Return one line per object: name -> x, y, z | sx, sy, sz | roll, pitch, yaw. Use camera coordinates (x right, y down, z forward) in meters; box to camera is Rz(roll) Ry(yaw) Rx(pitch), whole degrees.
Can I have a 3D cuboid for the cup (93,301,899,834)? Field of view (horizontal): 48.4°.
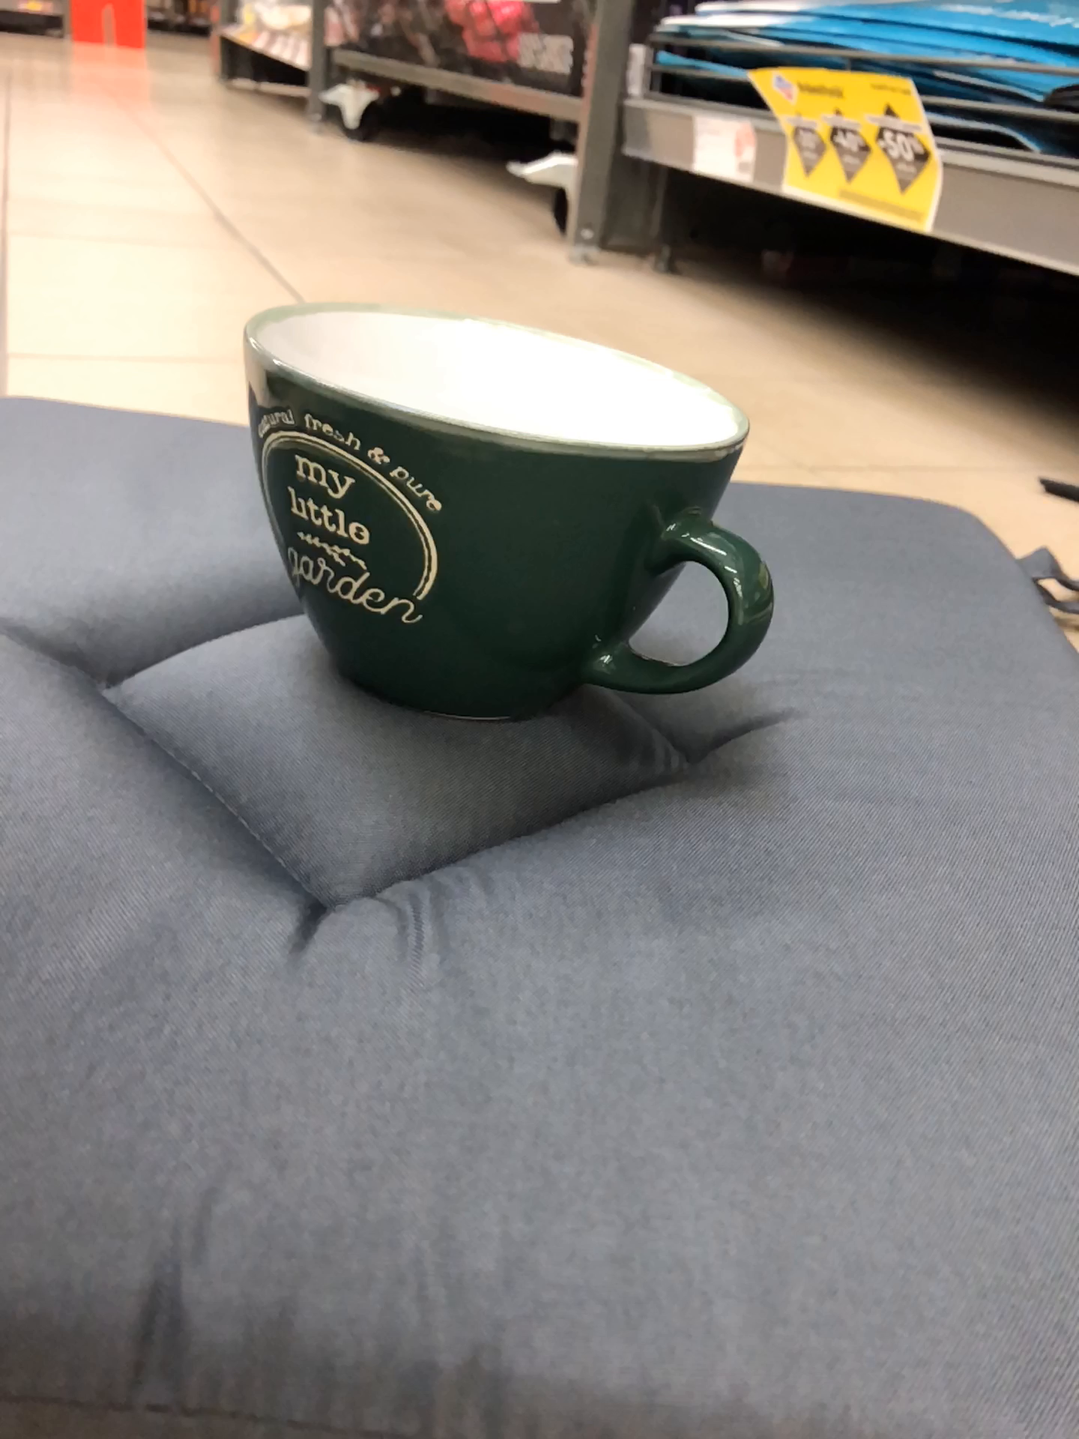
cup -> -0.010, -0.049, 0.276 | 0.130, 0.060, 0.121 | 6, 28, -3
